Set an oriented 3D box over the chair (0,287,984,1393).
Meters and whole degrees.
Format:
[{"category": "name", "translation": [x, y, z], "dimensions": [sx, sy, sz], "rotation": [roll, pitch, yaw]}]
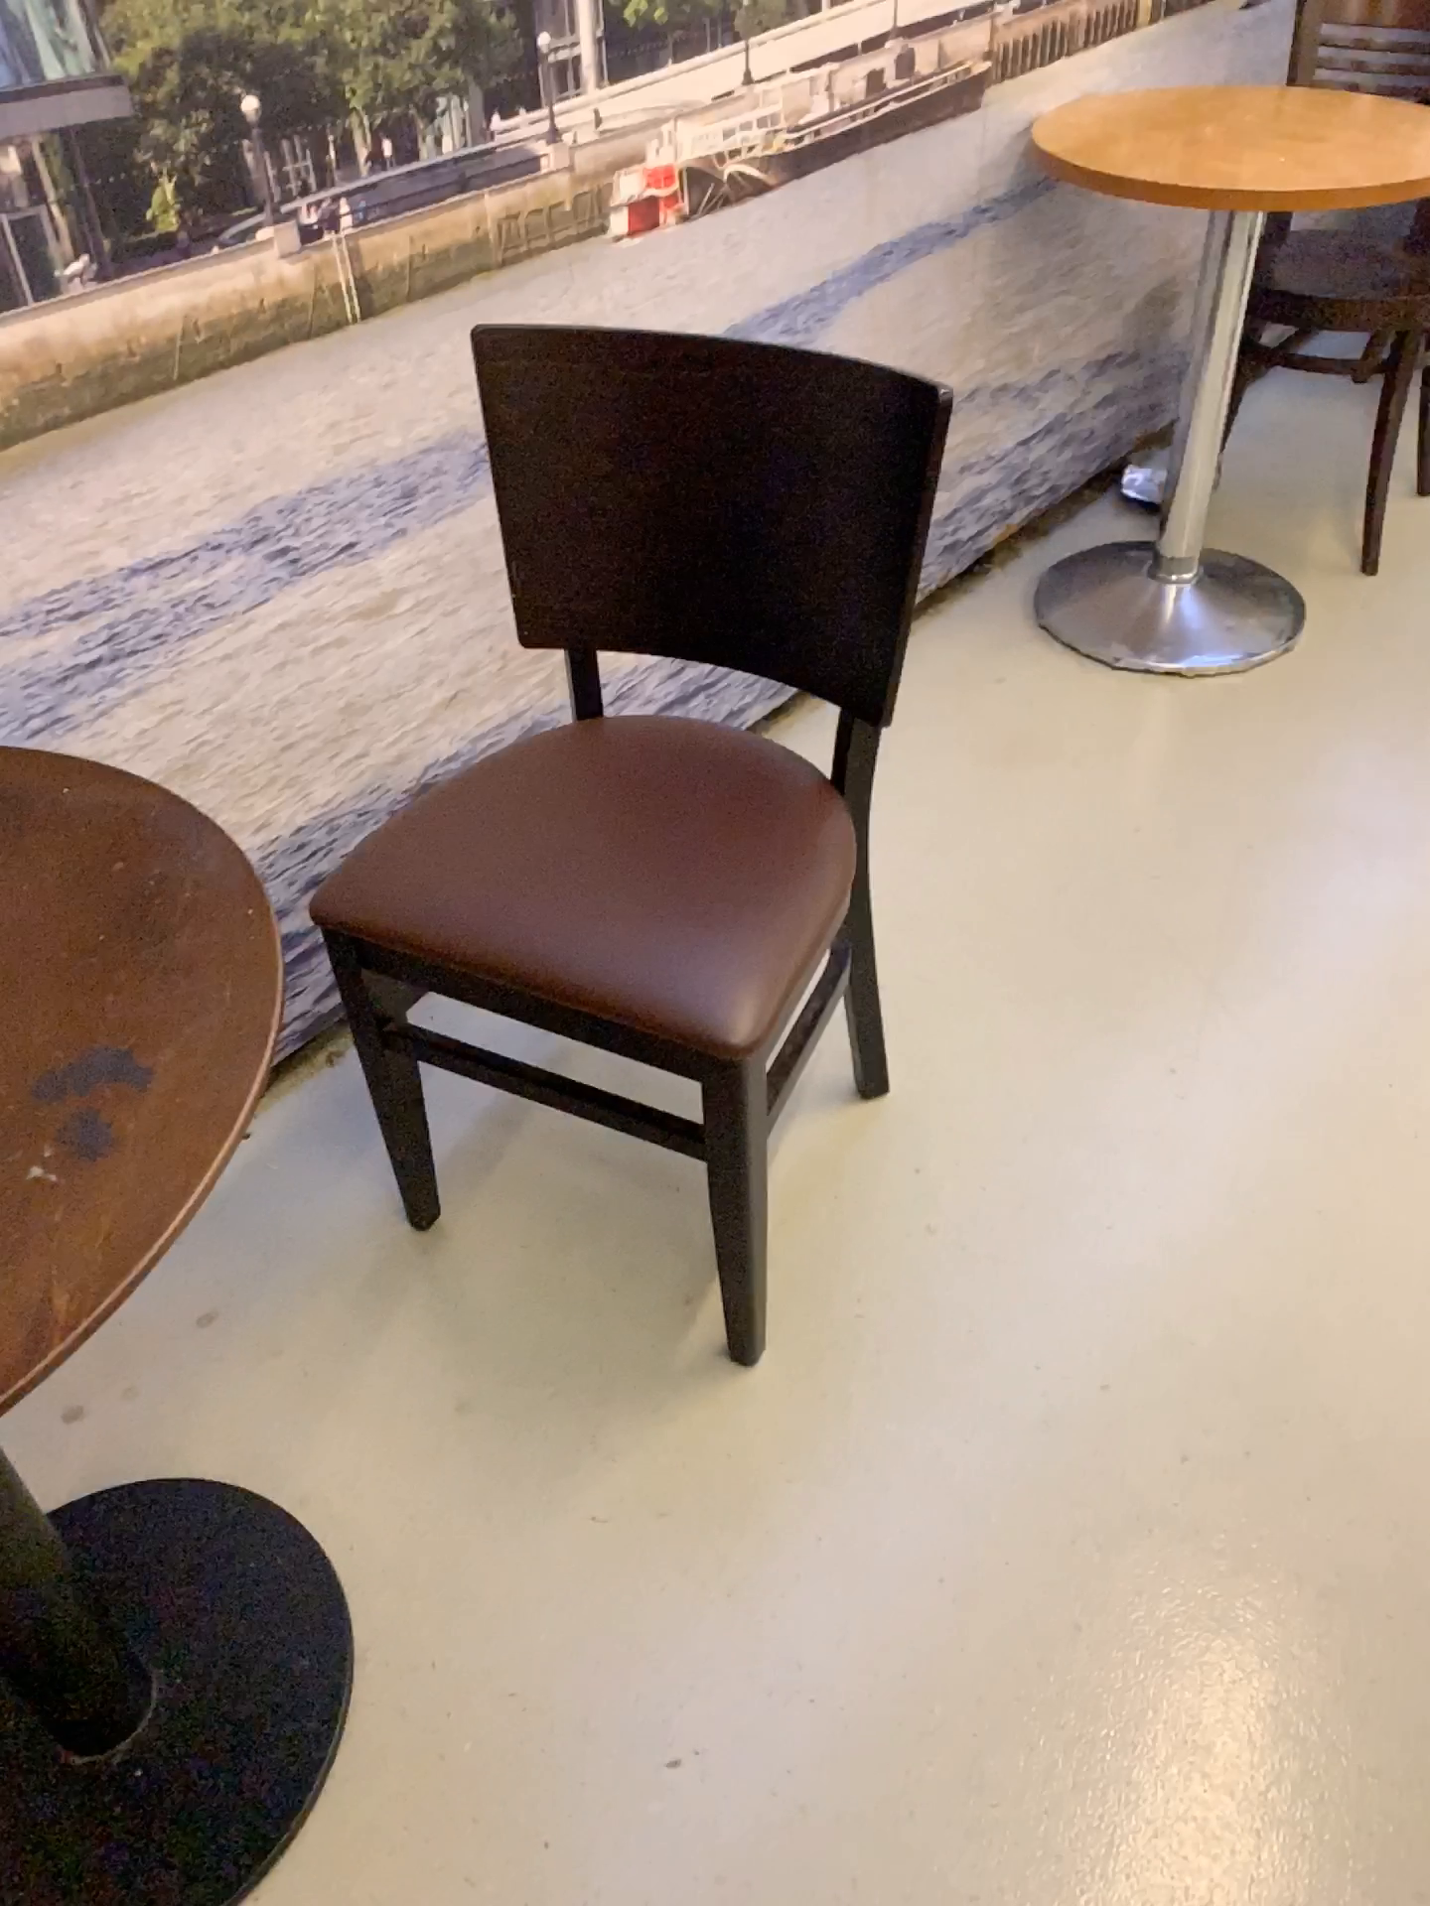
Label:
[{"category": "chair", "translation": [-0.131, -0.121, 1.312], "dimensions": [0.559, 0.729, 0.520], "rotation": [15, 43, 22]}]
